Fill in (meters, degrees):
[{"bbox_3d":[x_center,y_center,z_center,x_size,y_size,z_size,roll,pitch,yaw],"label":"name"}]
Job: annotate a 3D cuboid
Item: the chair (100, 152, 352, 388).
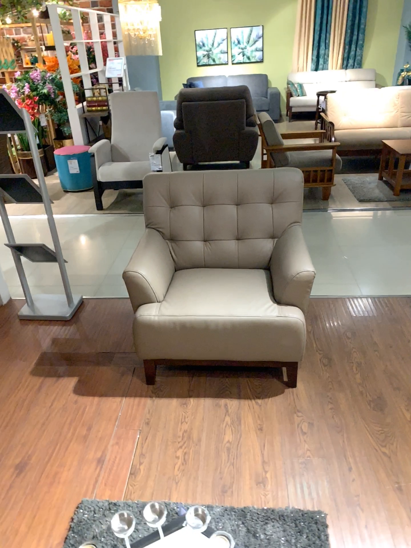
[{"bbox_3d":[0.117,-0.086,2.223,0.950,0.856,1.004,0,29,4],"label":"chair"}]
